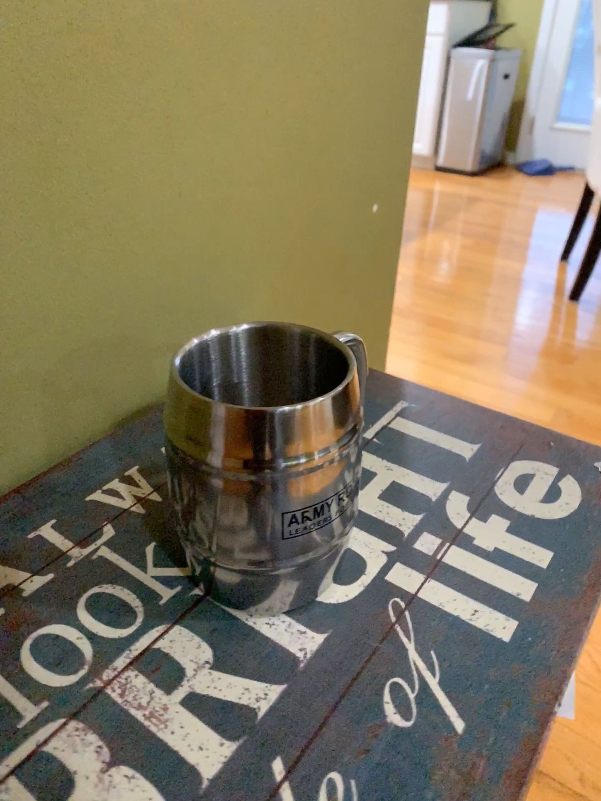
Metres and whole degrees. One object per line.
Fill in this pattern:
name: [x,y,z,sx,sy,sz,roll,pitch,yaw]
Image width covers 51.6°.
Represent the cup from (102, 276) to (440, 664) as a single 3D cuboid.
cup: [-0.007,0.023,0.302,0.089,0.113,0.129,21,37,28]
